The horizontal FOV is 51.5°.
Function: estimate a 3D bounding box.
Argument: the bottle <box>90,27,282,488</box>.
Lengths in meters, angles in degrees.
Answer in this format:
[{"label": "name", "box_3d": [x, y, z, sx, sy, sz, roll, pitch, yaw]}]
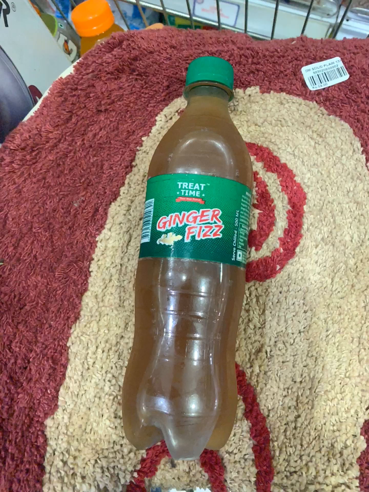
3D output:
[{"label": "bottle", "box_3d": [0.003, 0.003, 0.223, 0.070, 0.070, 0.220, 6, 85, 1]}]
